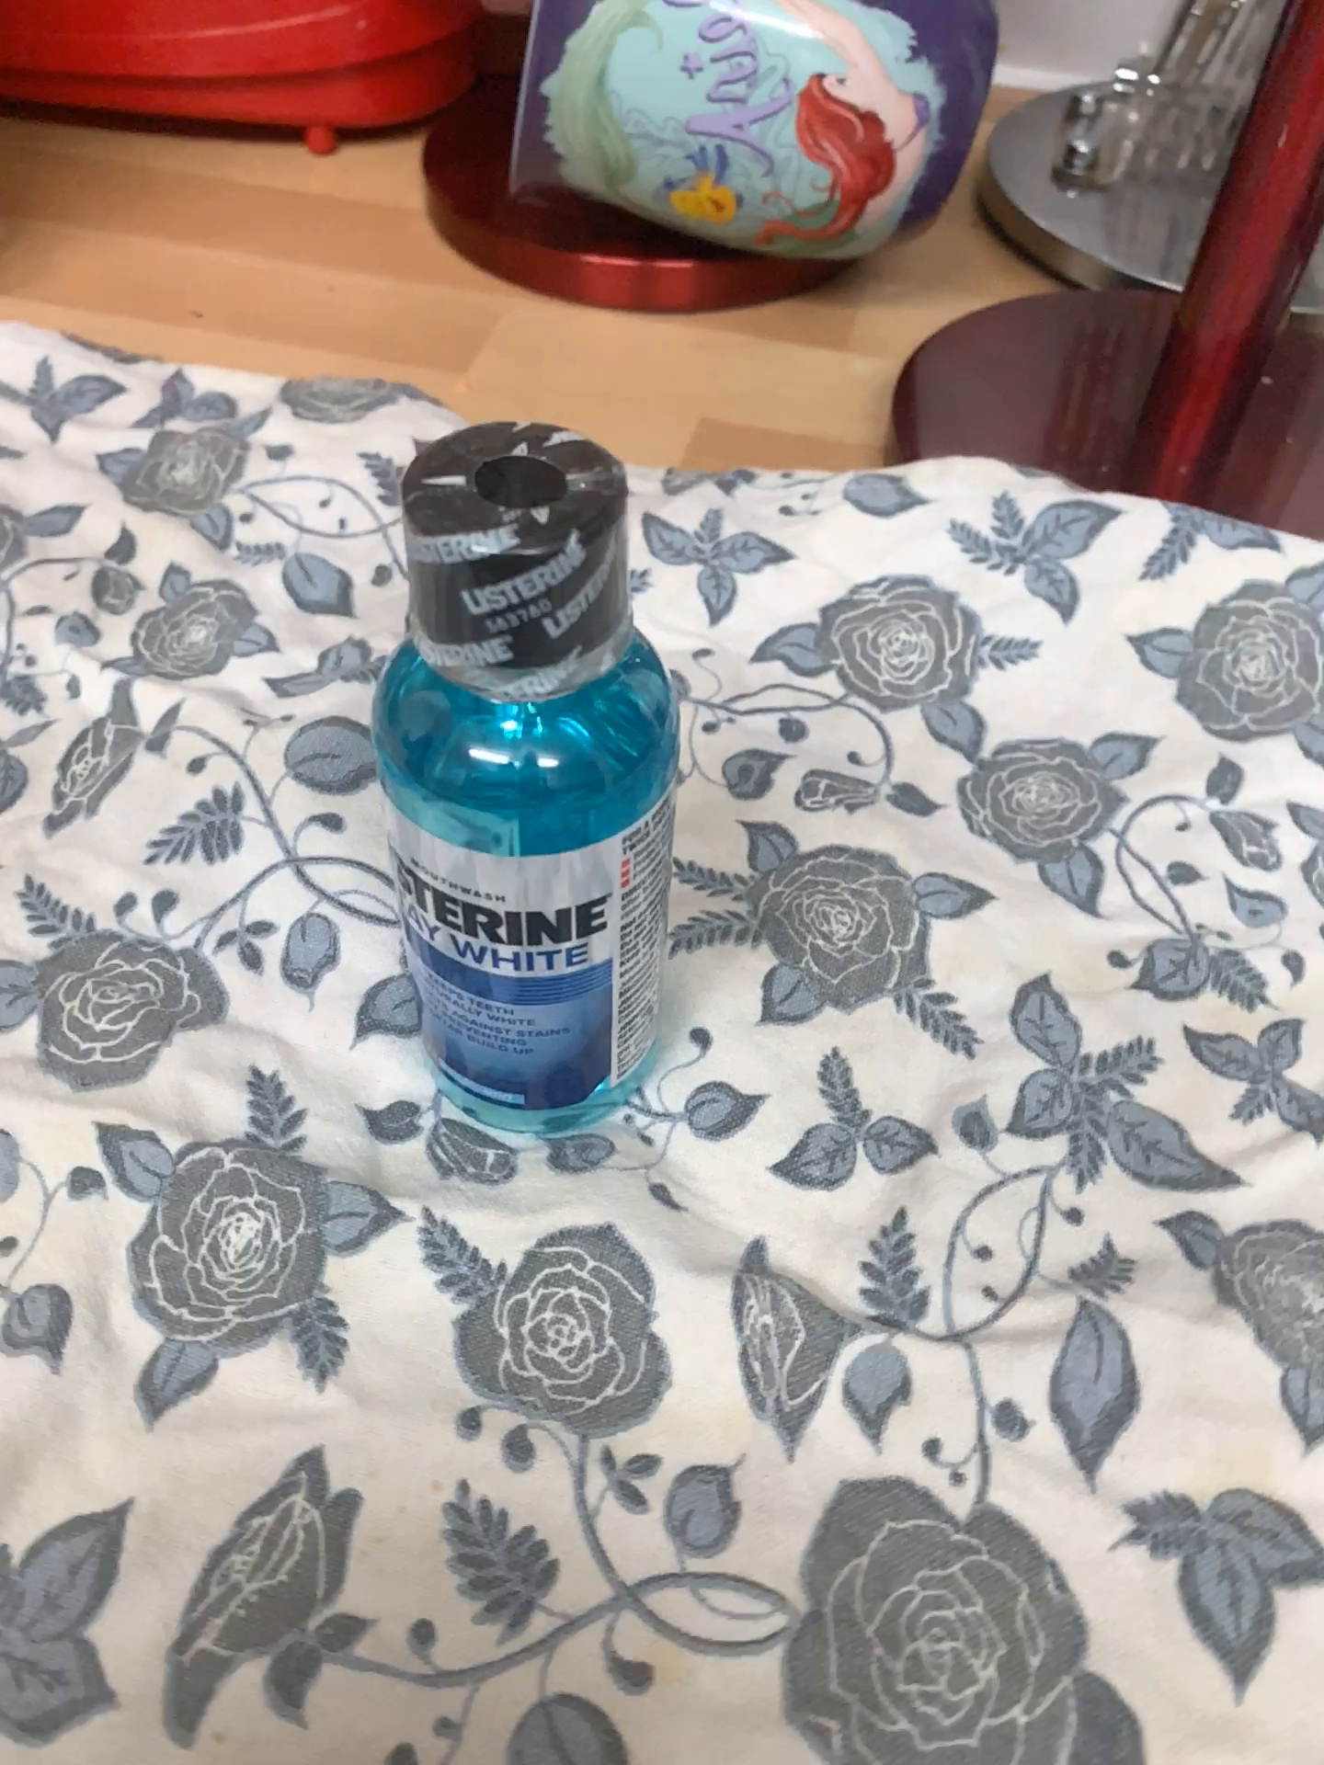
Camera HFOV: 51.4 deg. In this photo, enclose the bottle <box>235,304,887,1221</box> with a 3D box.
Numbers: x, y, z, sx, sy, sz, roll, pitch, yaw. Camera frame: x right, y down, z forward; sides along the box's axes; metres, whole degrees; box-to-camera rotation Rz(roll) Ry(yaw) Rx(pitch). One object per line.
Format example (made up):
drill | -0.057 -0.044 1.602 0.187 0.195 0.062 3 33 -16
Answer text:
bottle | -0.013 -0.010 0.192 0.050 0.109 0.050 2 50 -2
